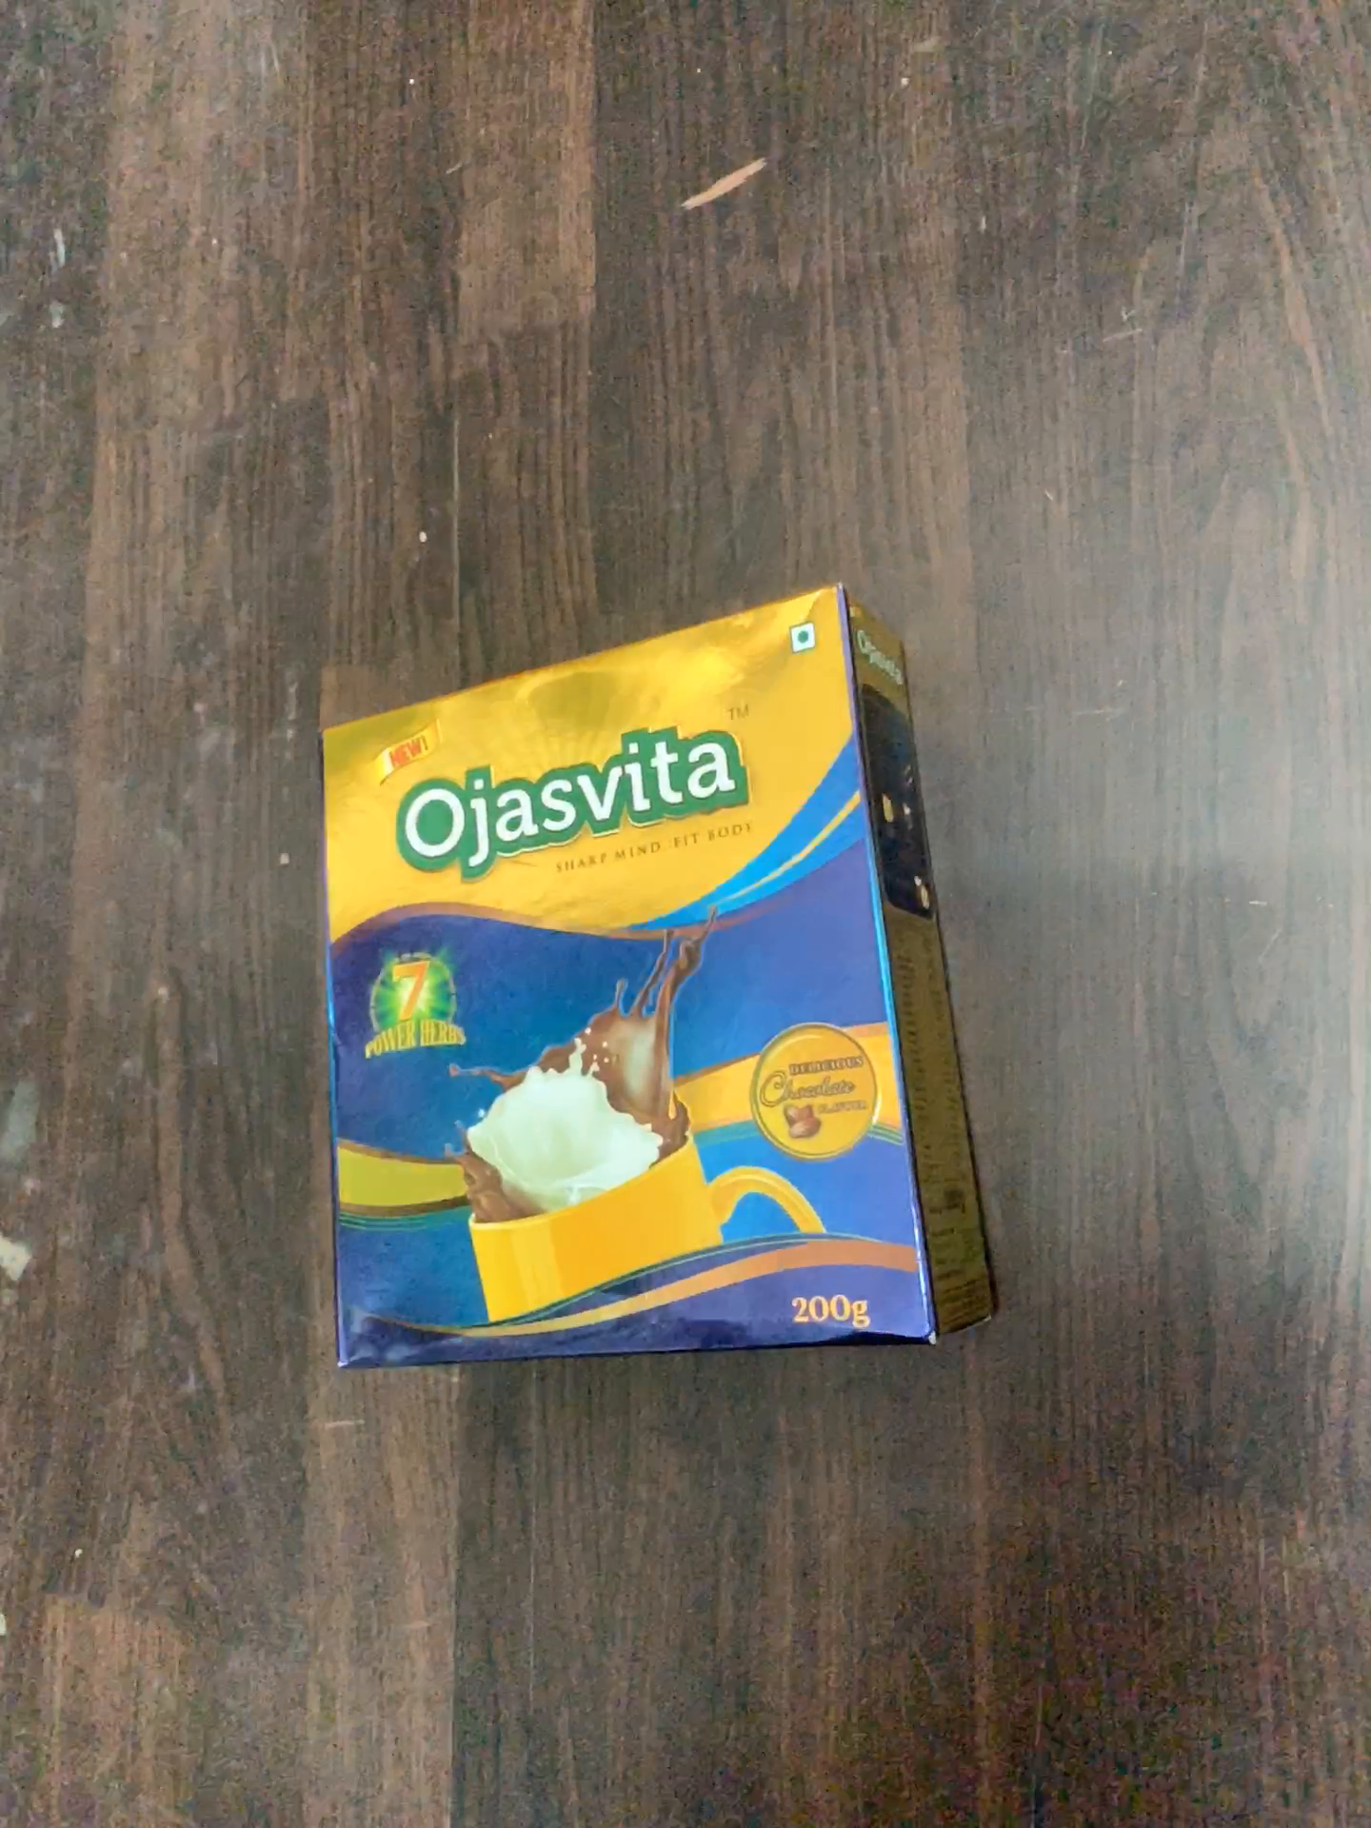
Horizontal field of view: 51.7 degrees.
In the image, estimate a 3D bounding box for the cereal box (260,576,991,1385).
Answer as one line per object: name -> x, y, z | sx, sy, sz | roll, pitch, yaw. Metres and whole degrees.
cereal box -> -0.021, 0.021, 0.316 | 0.150, 0.040, 0.150 | -11, 76, 24
